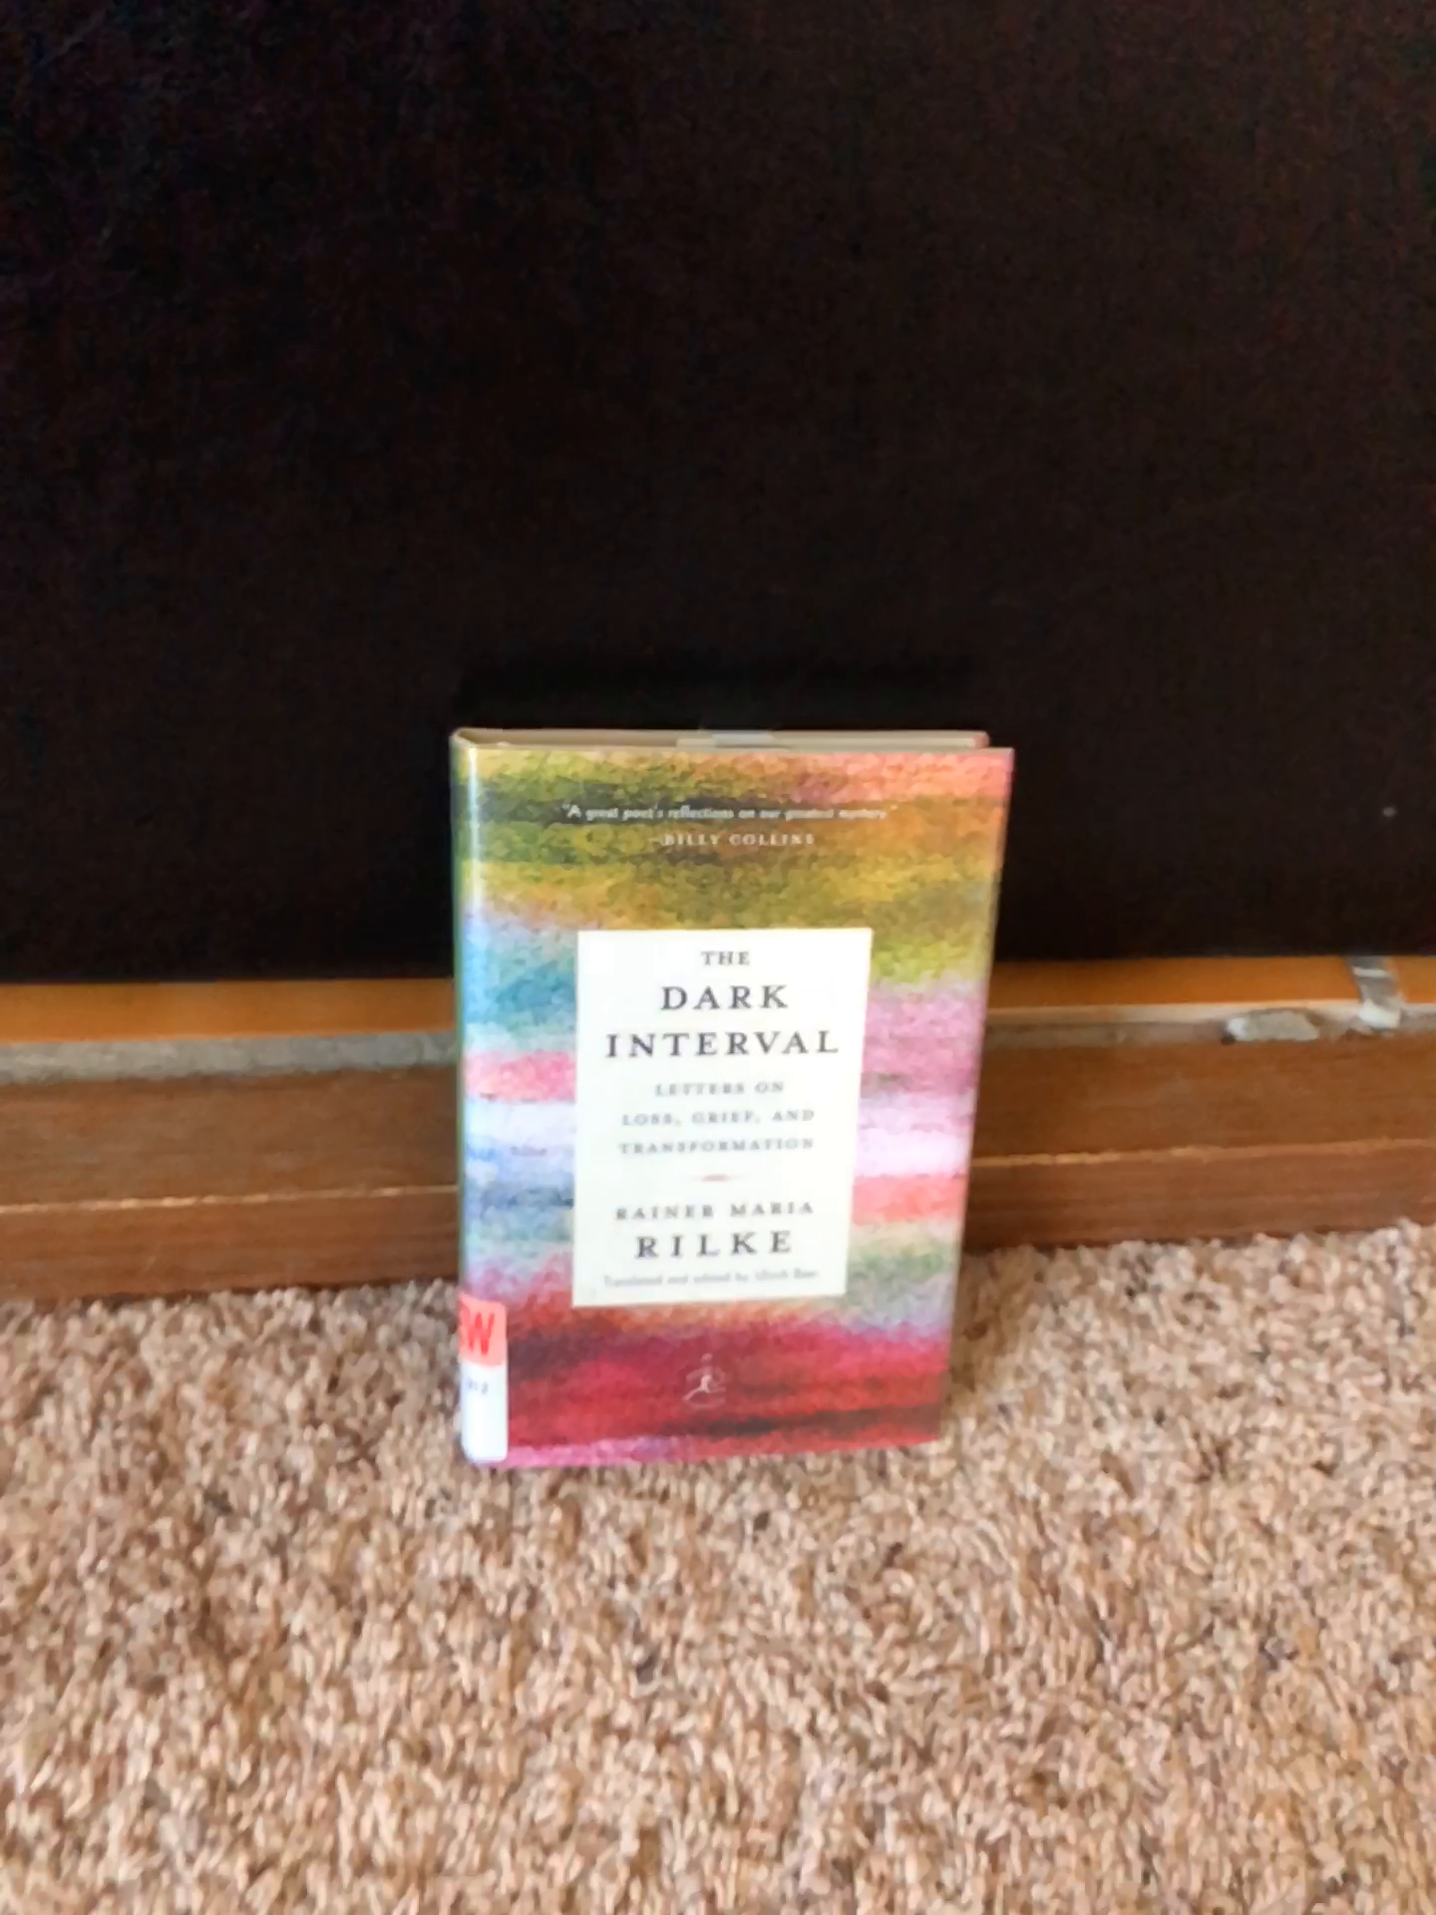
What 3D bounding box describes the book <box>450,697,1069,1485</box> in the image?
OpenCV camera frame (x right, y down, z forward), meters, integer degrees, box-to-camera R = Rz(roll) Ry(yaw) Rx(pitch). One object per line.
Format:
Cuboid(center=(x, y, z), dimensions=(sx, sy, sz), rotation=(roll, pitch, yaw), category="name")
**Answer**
Cuboid(center=(0.004, 0.036, 0.390), dimensions=(0.135, 0.190, 0.030), rotation=(0, 20, -10), category="book")
